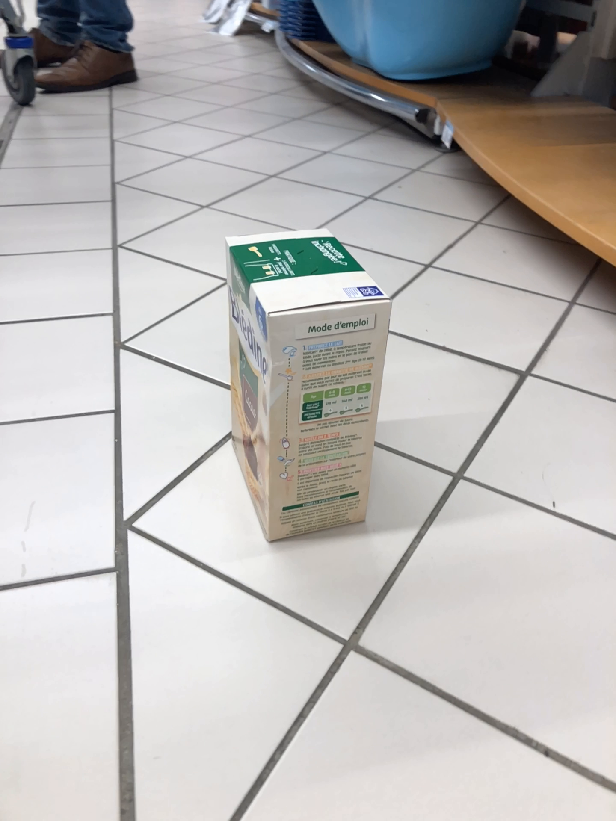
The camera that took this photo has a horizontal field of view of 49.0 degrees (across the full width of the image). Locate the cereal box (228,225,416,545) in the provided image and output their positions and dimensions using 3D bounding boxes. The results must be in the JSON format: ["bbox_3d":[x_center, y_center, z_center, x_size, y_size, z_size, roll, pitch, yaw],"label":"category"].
[{"bbox_3d":[0.001,-0.022,0.521,0.090,0.189,0.141,-9,37,-15],"label":"cereal box"}]
